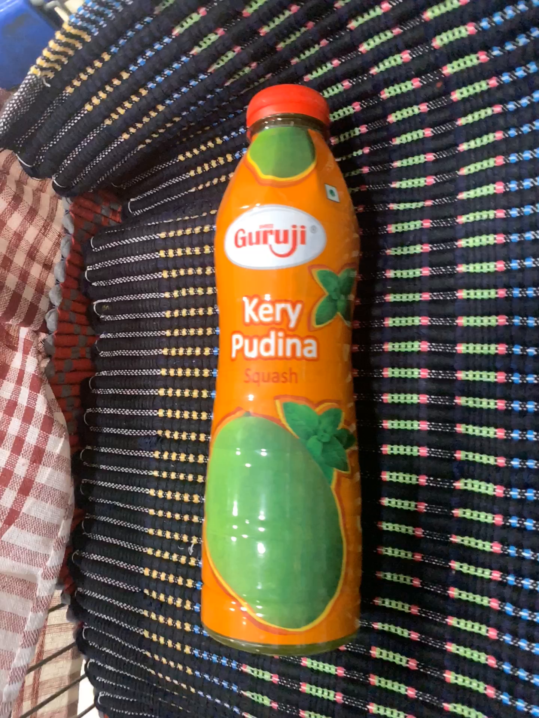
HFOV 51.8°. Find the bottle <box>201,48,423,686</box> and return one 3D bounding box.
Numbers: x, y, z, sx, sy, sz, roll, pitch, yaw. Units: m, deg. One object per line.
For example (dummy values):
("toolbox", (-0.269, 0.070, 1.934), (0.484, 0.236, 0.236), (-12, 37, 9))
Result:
("bottle", (0.016, 0.001, 0.240), (0.070, 0.070, 0.230), (4, 83, -12))
